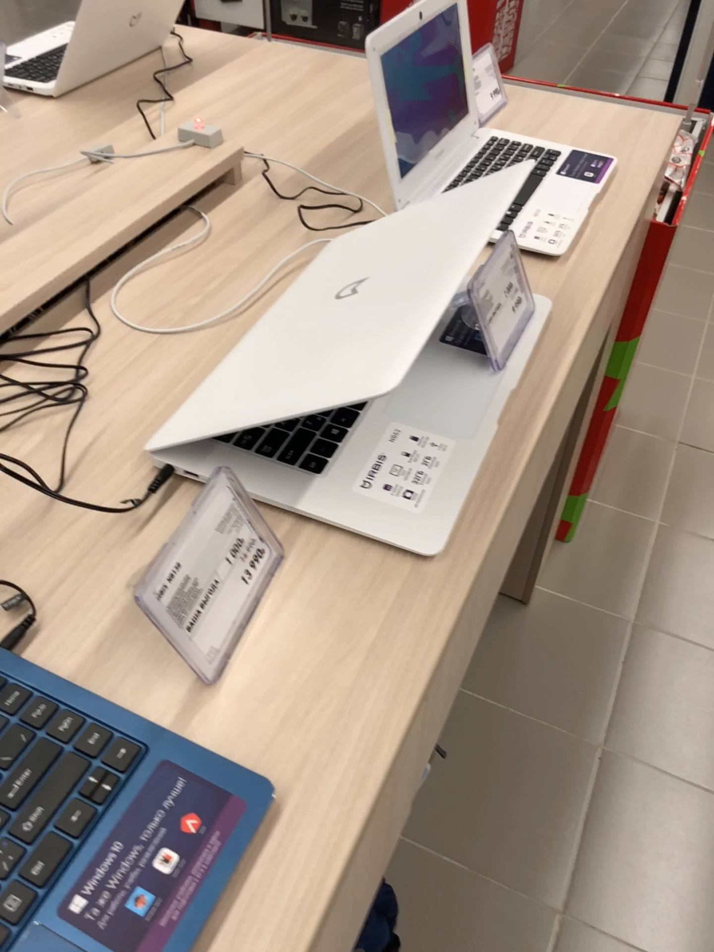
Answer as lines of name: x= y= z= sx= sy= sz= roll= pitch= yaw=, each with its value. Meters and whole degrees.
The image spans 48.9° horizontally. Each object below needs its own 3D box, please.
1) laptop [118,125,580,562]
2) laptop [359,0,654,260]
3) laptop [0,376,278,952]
laptop: x=0.019 y=-0.134 z=0.620 sx=0.223 sy=0.115 sz=0.351 roll=19 pitch=47 yaw=14
laptop: x=0.164 y=-0.408 z=0.870 sx=0.230 sy=0.168 sz=0.264 roll=20 pitch=48 yaw=17
laptop: x=-0.249 y=0.152 z=0.286 sx=0.319 sy=0.162 sz=0.311 roll=18 pitch=46 yaw=16
